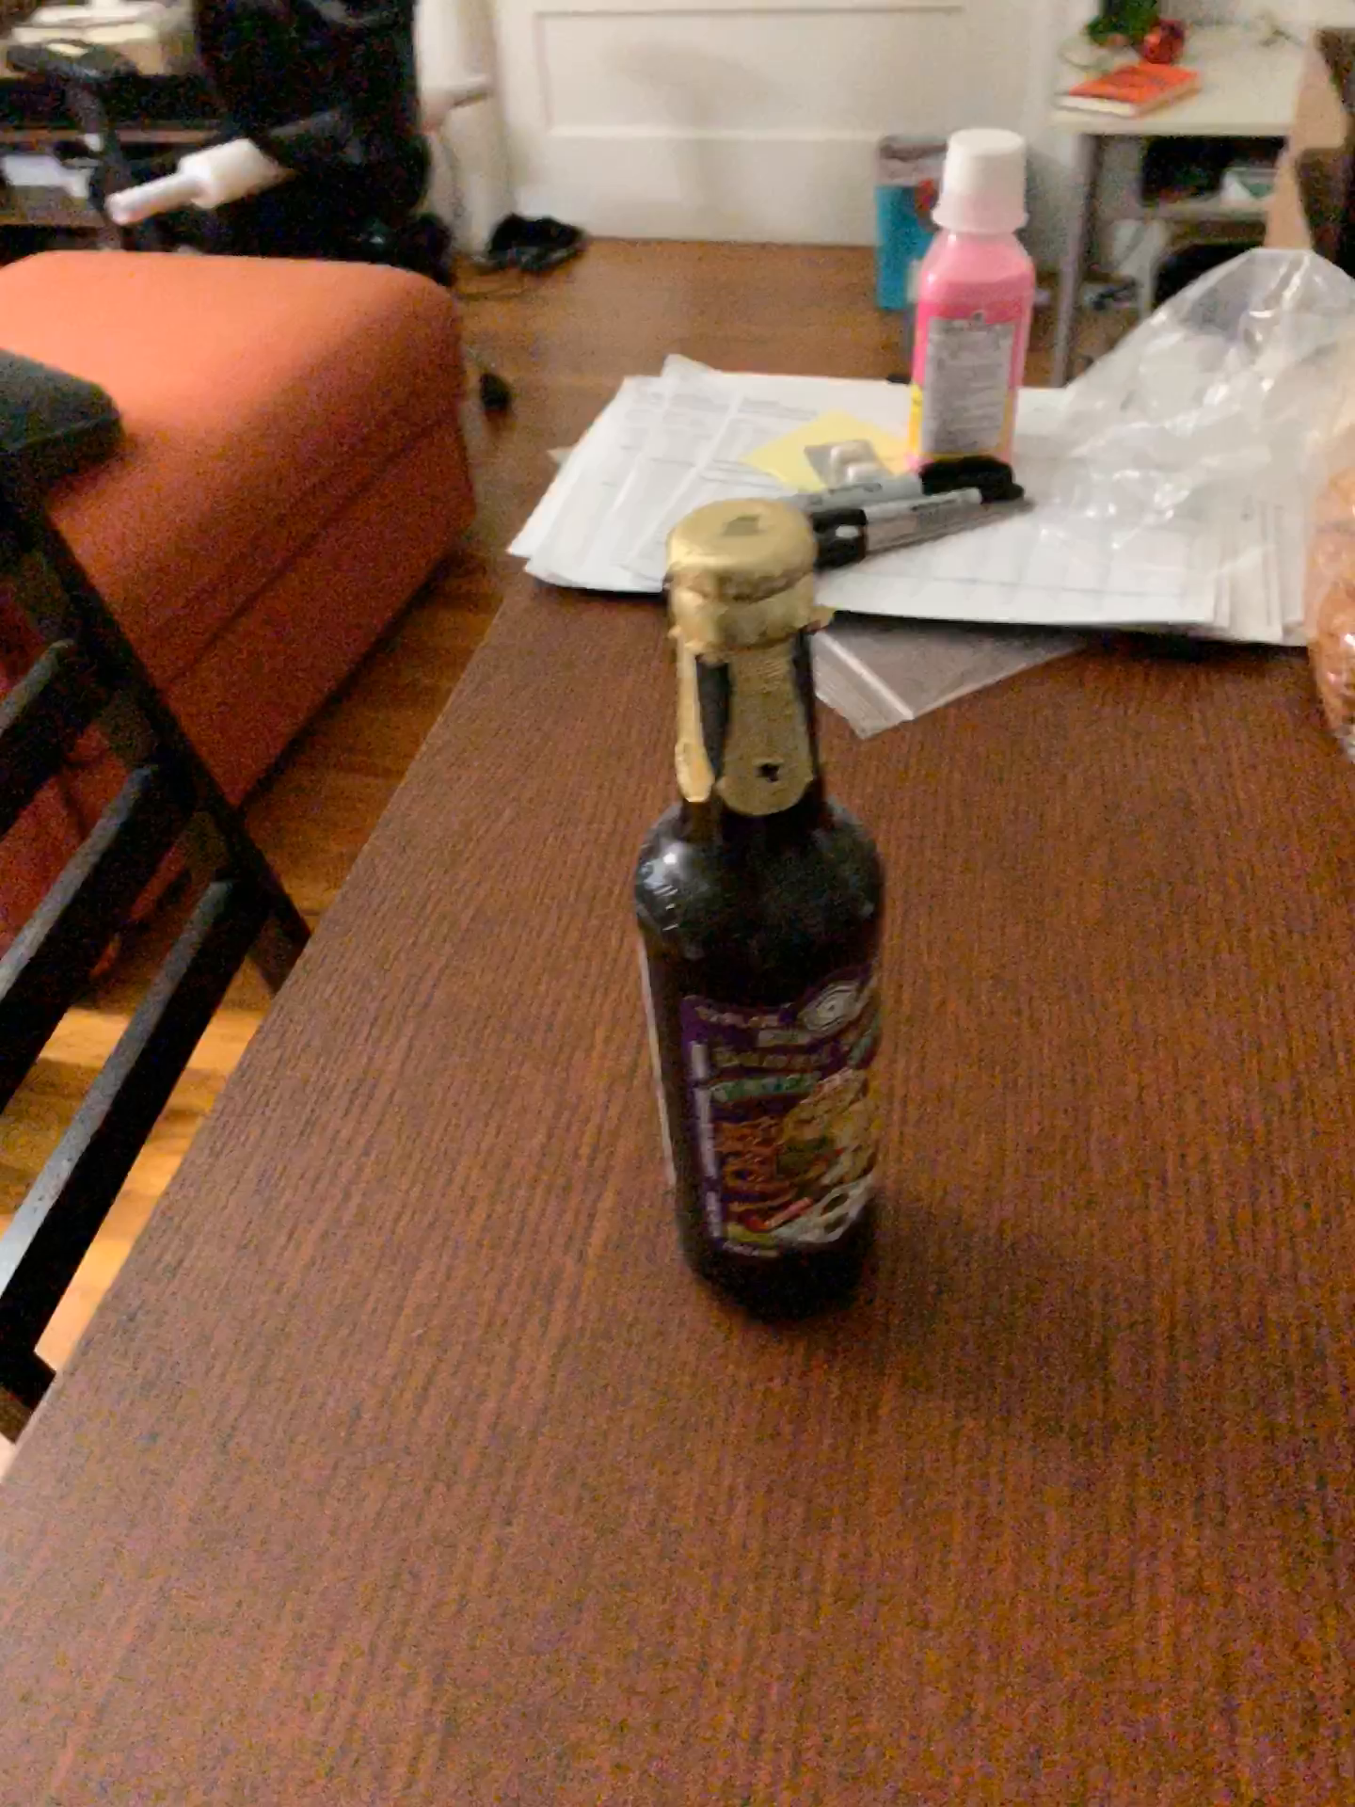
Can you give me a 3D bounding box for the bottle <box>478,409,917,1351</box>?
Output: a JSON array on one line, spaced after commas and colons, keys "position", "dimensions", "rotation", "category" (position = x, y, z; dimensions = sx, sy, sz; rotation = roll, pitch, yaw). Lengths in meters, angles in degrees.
[{"position": [0.007, 0.011, 0.338], "dimensions": [0.070, 0.229, 0.070], "rotation": [-3, 43, 2], "category": "bottle"}]
